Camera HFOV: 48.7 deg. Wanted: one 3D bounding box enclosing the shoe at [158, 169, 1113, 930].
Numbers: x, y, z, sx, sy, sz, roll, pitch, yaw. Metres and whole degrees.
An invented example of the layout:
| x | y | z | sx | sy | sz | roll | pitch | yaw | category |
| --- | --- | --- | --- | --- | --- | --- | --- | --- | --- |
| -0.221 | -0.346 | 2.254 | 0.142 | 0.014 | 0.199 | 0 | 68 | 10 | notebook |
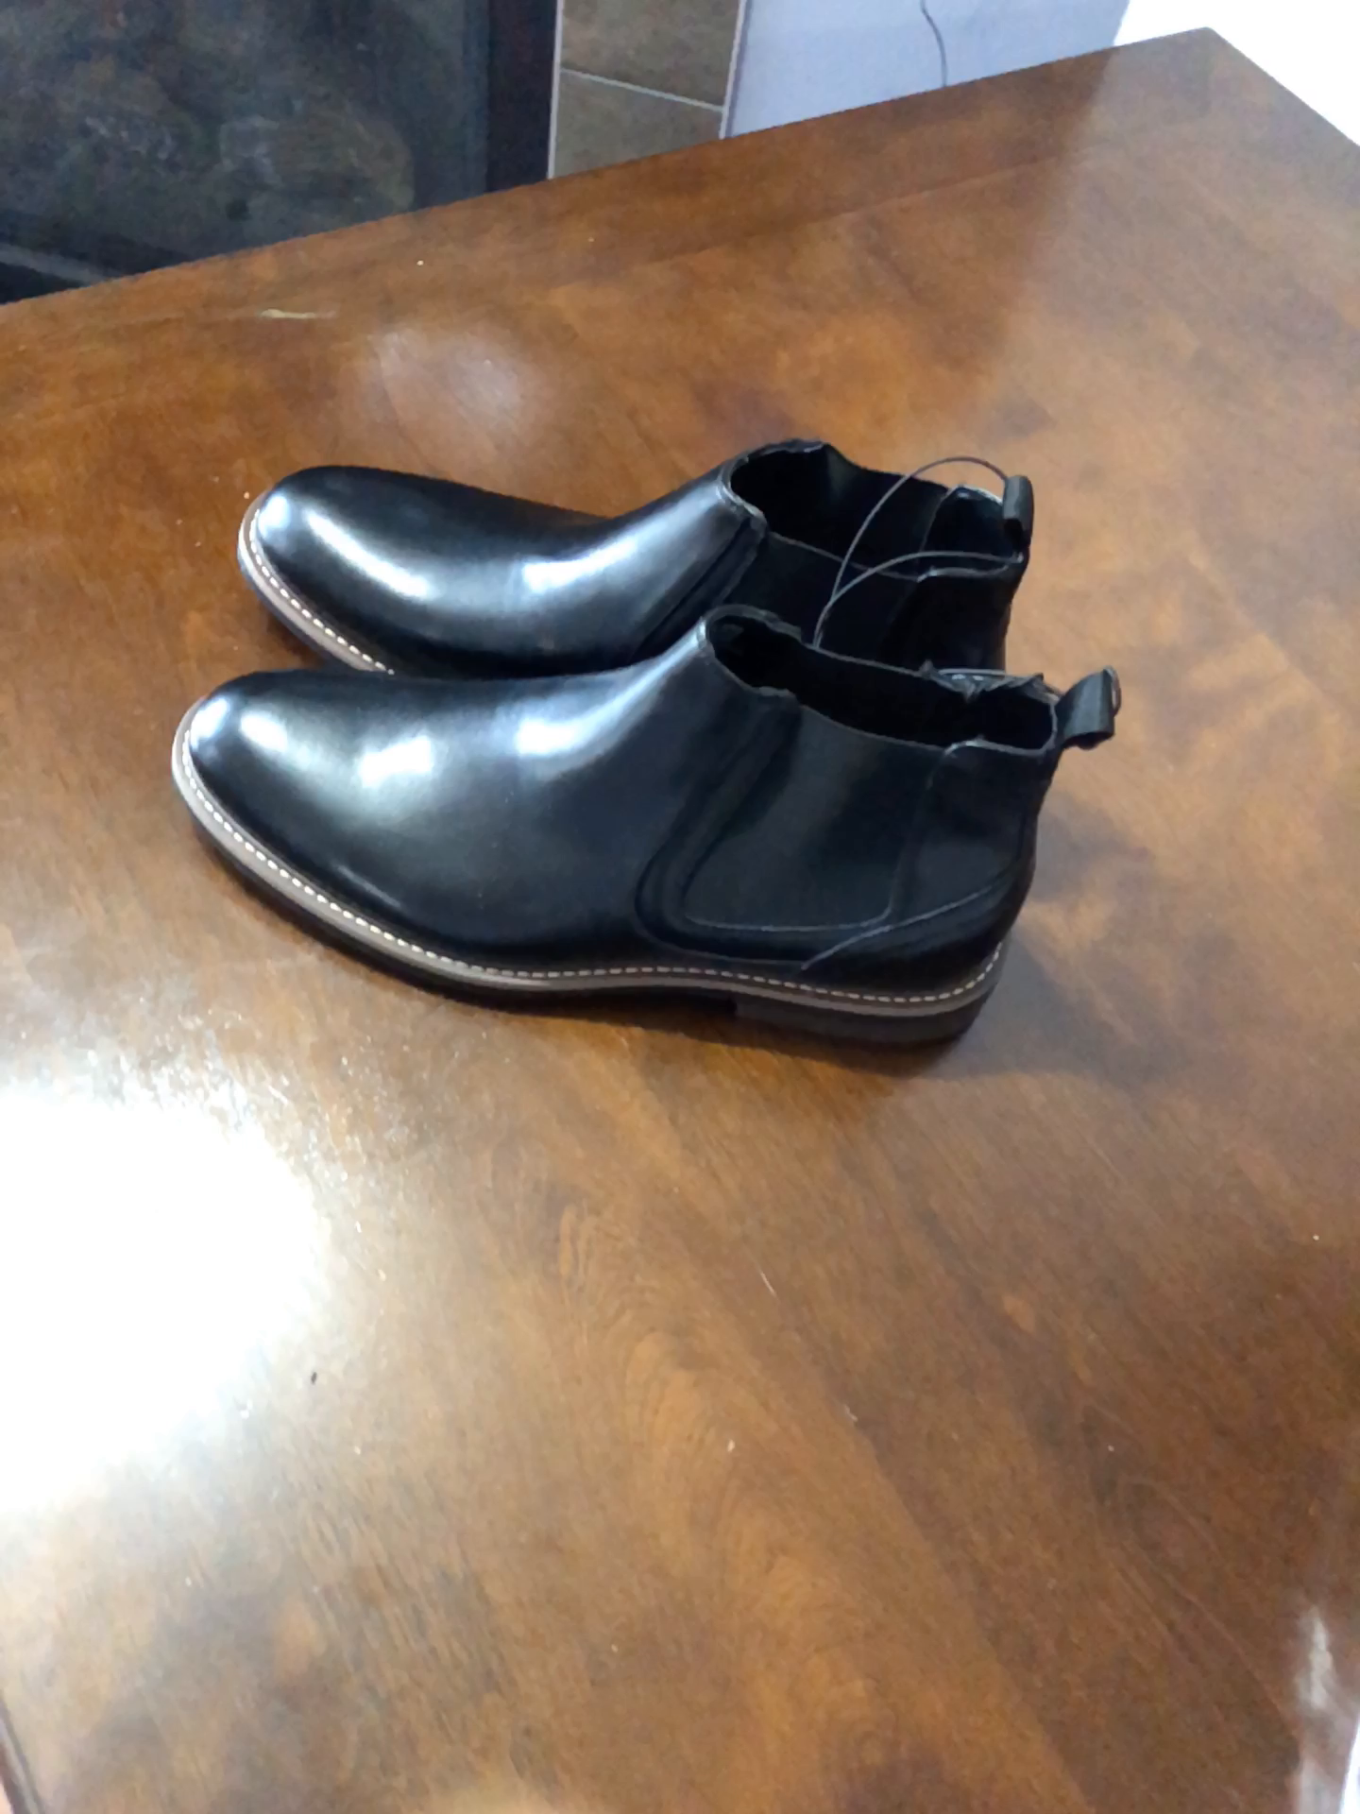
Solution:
| x | y | z | sx | sy | sz | roll | pitch | yaw | category |
| --- | --- | --- | --- | --- | --- | --- | --- | --- | --- |
| -0.018 | -0.129 | 0.574 | 0.300 | 0.170 | 0.120 | 18 | 57 | 2 | shoe |

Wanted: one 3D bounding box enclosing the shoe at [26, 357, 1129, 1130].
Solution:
| x | y | z | sx | sy | sz | roll | pitch | yaw | category |
| --- | --- | --- | --- | --- | --- | --- | --- | --- | --- |
| -0.028 | -0.044 | 0.504 | 0.300 | 0.170 | 0.120 | 12 | 57 | -1 | shoe |
